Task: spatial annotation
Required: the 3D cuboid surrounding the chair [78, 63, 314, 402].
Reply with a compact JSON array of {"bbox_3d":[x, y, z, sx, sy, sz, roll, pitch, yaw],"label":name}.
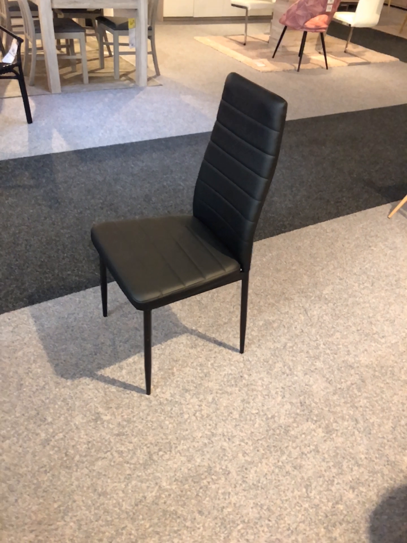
[{"bbox_3d":[-0.074,-0.119,1.470,0.472,0.934,0.471,-15,42,-25],"label":"chair"}]
